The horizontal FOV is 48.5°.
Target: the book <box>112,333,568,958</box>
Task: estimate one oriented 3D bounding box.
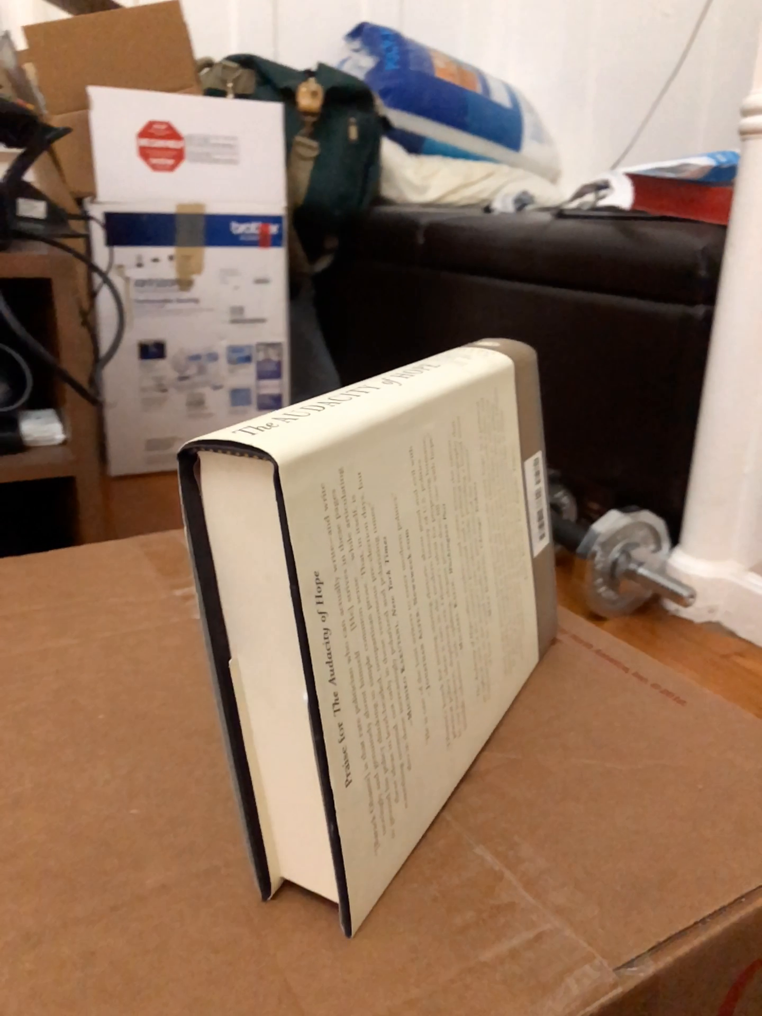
[{"bbox_3d":[0.012,0.024,0.365,0.060,0.169,0.251,-1,15,27],"label":"book"}]
